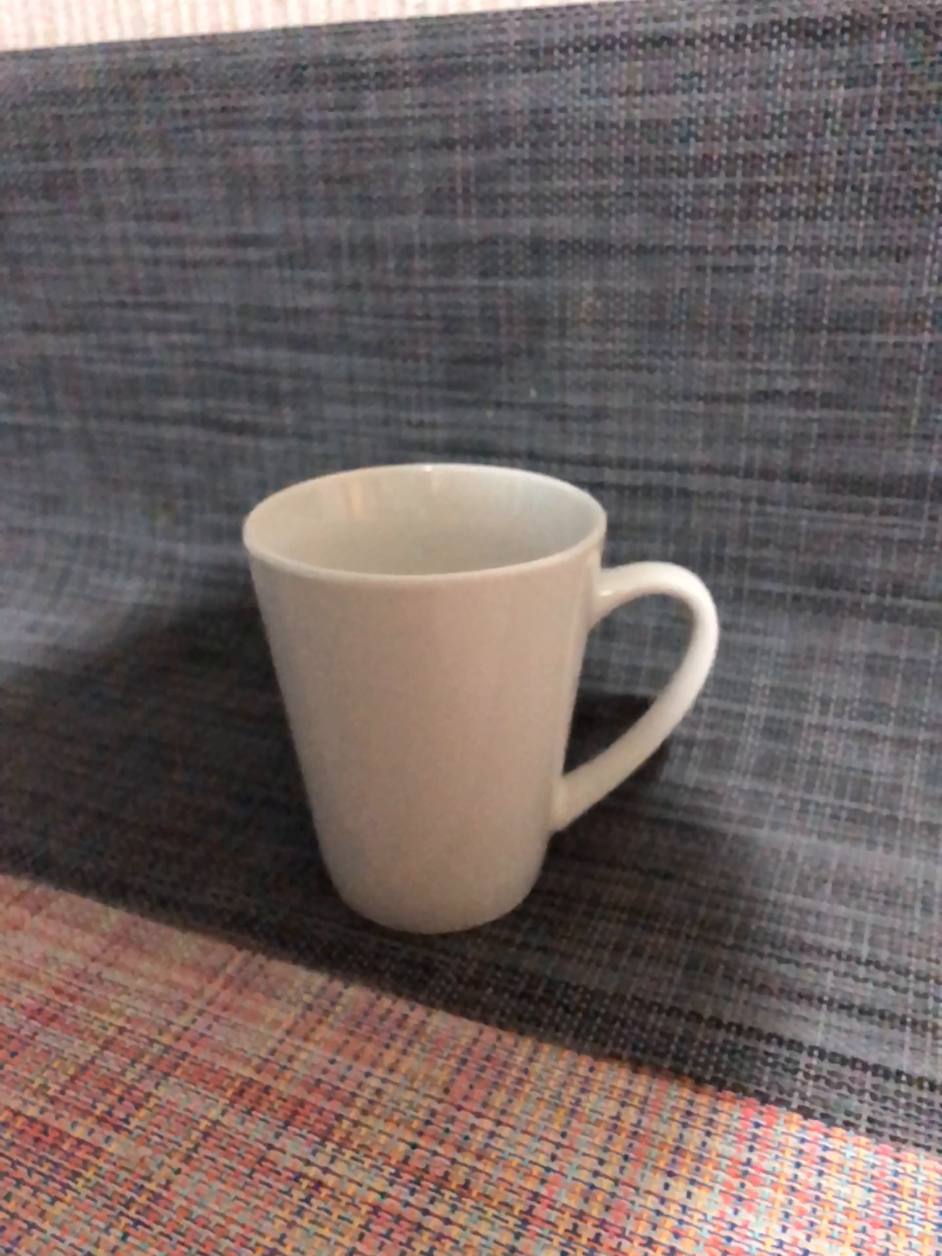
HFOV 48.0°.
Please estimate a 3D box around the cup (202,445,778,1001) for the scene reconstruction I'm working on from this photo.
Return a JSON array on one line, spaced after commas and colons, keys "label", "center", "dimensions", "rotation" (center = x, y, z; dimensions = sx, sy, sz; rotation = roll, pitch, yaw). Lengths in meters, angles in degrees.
[{"label": "cup", "center": [0.000, 0.016, 0.266], "dimensions": [0.111, 0.096, 0.097], "rotation": [-4, 24, -6]}]
